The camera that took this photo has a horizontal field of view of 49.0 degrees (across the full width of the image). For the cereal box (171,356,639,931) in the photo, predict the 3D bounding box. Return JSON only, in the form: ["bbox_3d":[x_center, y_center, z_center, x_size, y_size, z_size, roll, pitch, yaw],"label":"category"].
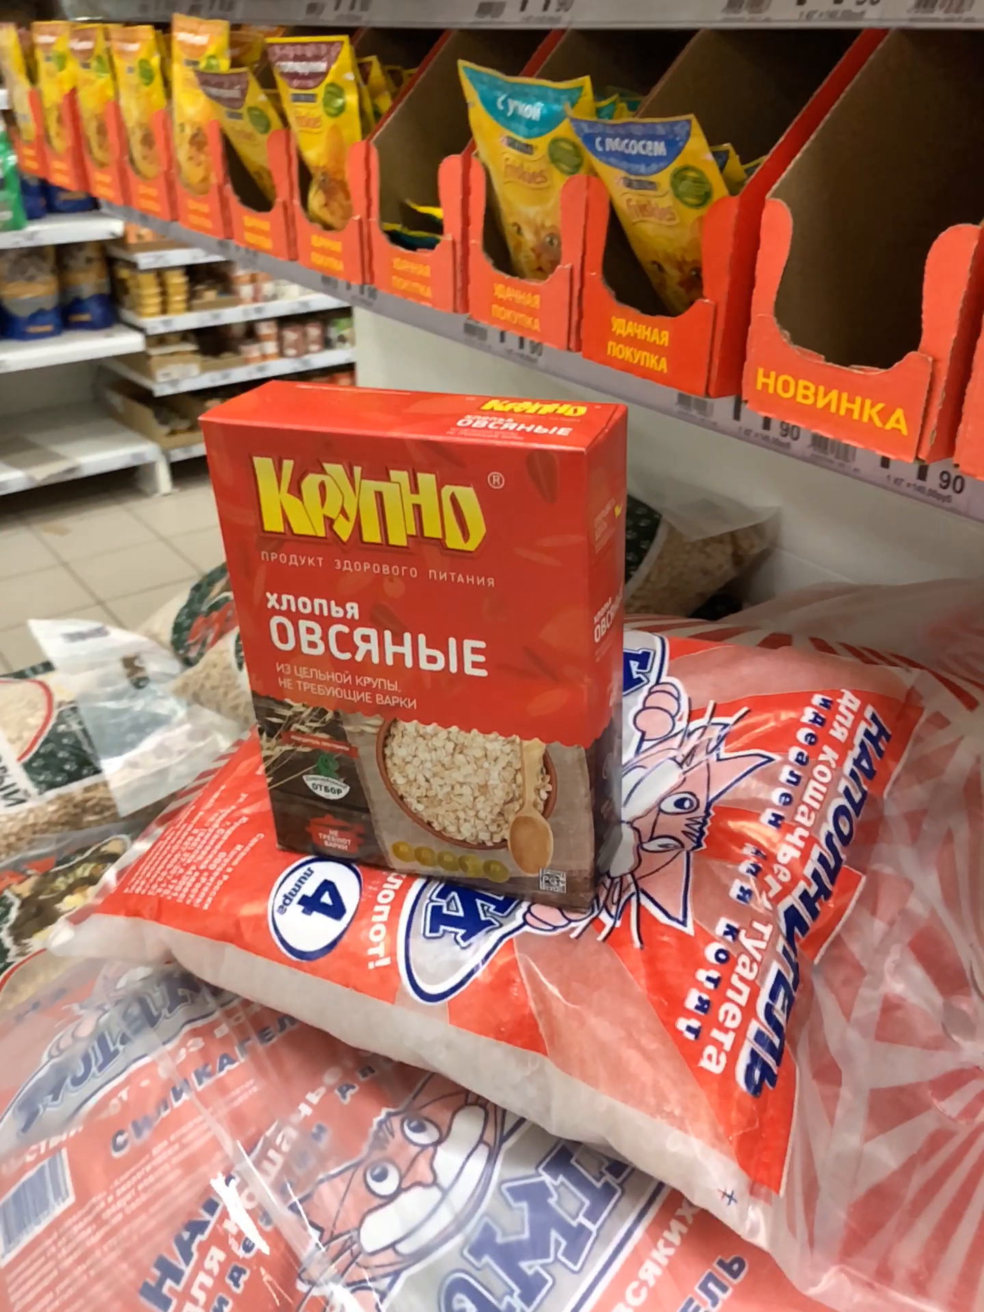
[{"bbox_3d":[-0.027,-0.005,0.422,0.150,0.199,0.060,9,32,18],"label":"cereal box"}]
